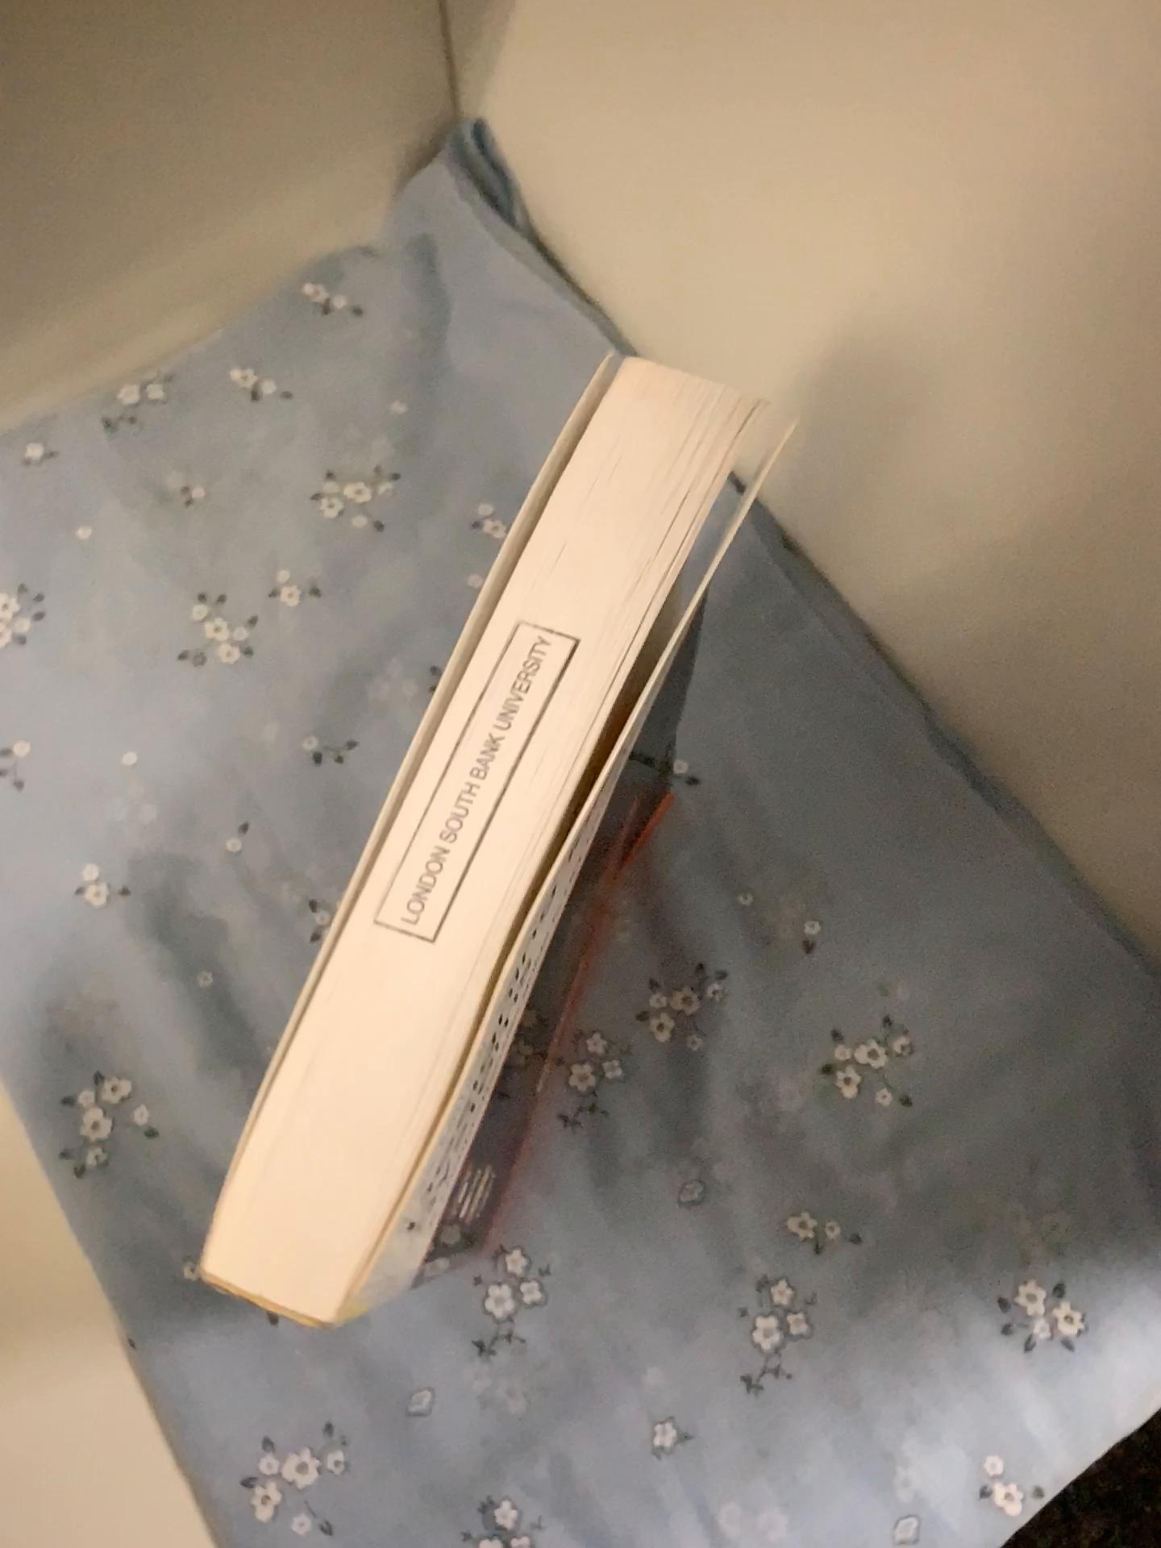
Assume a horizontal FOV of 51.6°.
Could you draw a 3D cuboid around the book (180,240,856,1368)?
[{"bbox_3d":[-0.003,0.034,0.344,0.041,0.271,0.216,21,71,7],"label":"book"}]
